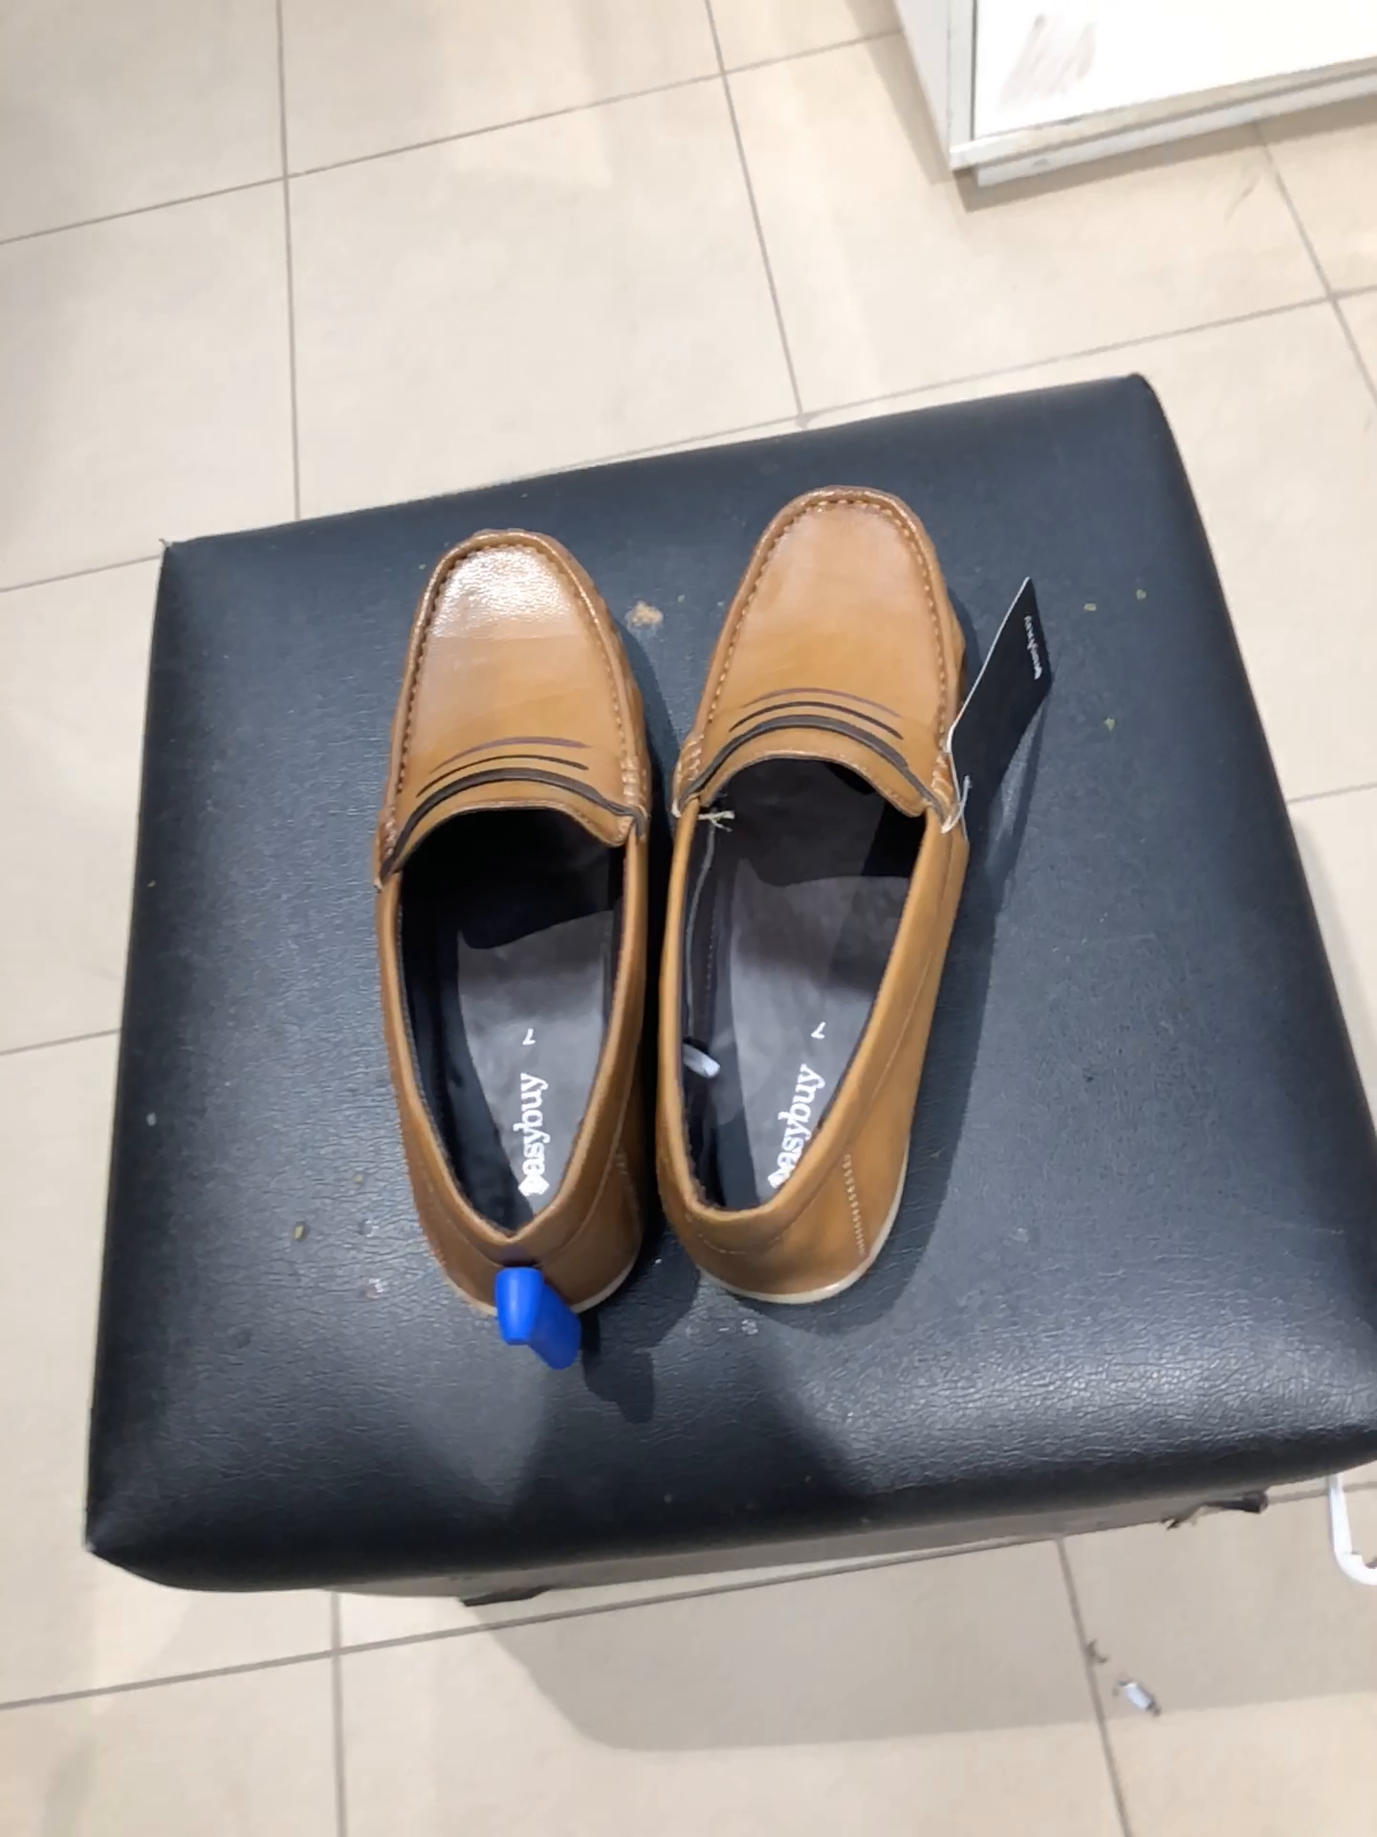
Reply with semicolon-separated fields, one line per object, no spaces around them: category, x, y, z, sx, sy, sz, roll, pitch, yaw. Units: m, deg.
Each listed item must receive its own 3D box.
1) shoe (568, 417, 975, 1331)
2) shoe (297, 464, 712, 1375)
shoe;0.037;-0.020;0.480;0.098;0.088;0.274;2;66;10
shoe;-0.059;-0.004;0.493;0.098;0.088;0.274;-8;64;6
